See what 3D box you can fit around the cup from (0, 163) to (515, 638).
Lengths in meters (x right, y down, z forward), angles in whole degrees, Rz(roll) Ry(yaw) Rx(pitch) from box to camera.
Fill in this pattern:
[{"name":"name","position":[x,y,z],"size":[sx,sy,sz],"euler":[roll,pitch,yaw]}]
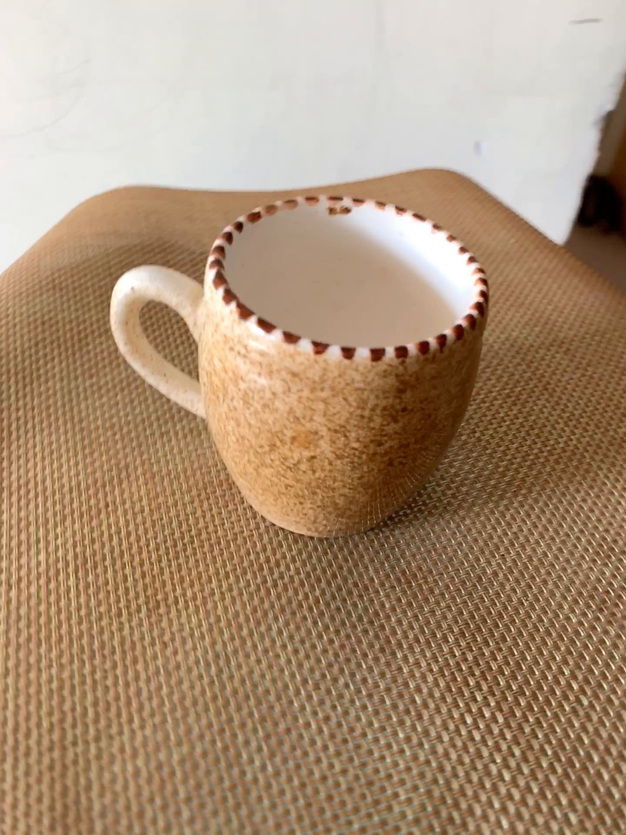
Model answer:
[{"name":"cup","position":[-0.007,-0.007,0.162],"size":[0.090,0.069,0.071],"euler":[14,46,9]}]
